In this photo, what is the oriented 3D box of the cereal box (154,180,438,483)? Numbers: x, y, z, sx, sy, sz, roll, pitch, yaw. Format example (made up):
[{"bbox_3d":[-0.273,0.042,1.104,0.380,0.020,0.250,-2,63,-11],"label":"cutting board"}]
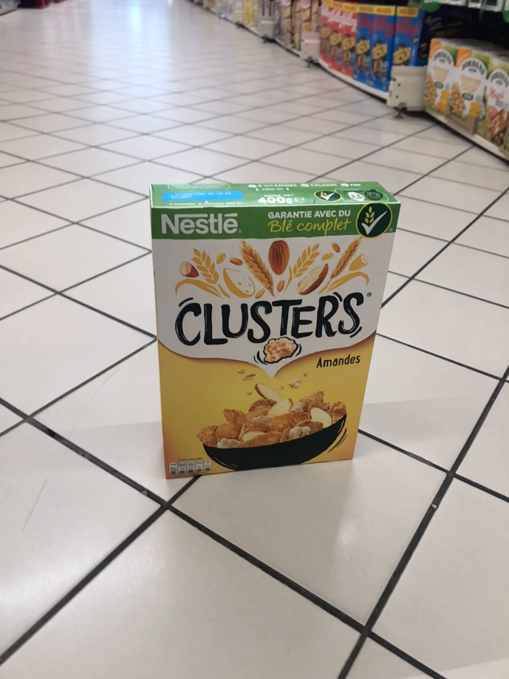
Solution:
[{"bbox_3d":[0.023,0.001,0.500,0.210,0.268,0.060,-2,32,-9],"label":"cereal box"}]
